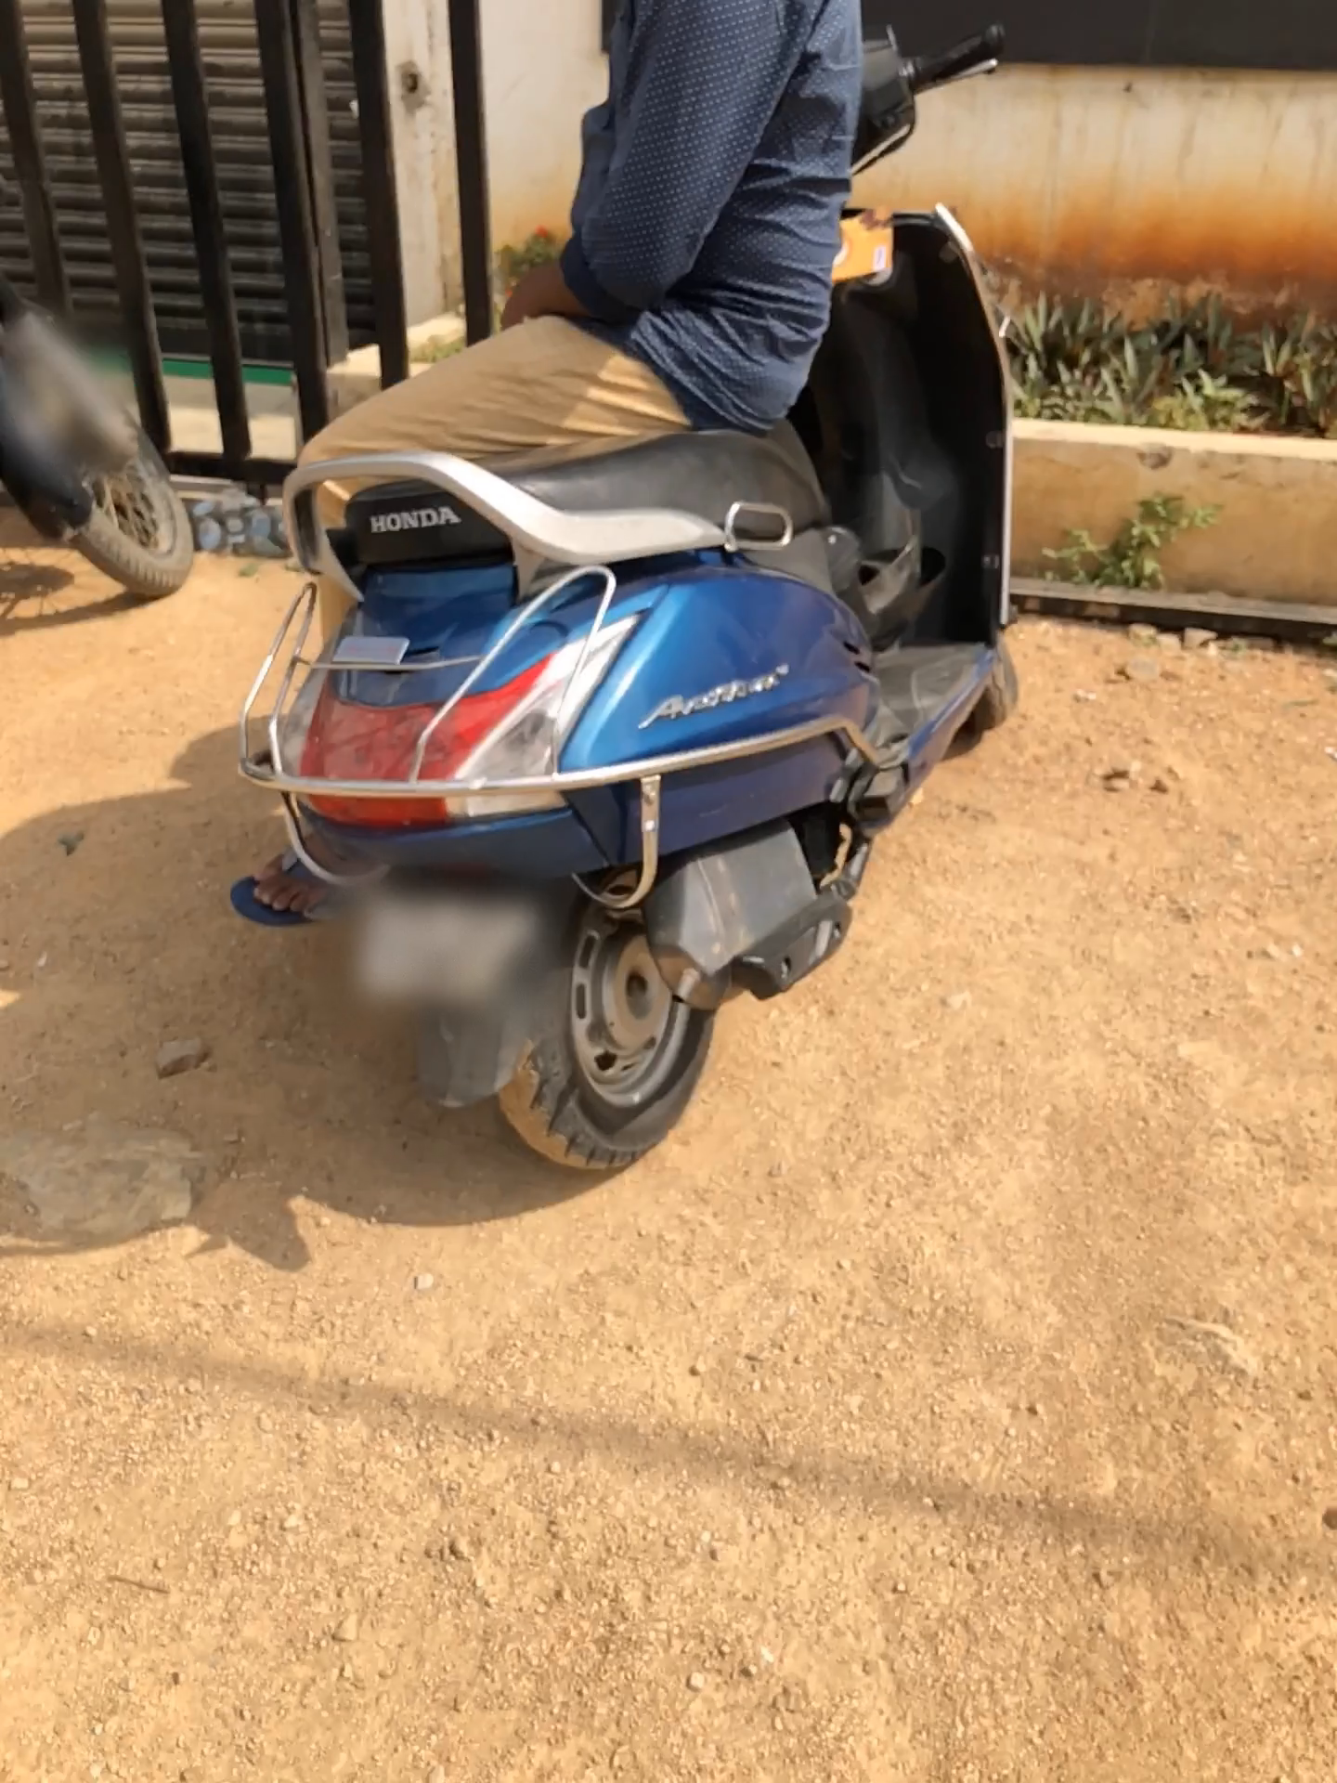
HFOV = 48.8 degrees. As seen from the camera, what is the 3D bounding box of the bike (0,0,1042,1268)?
[{"bbox_3d":[-0.009,-0.563,1.975,0.621,1.115,1.559,12,34,18],"label":"bike"}]
